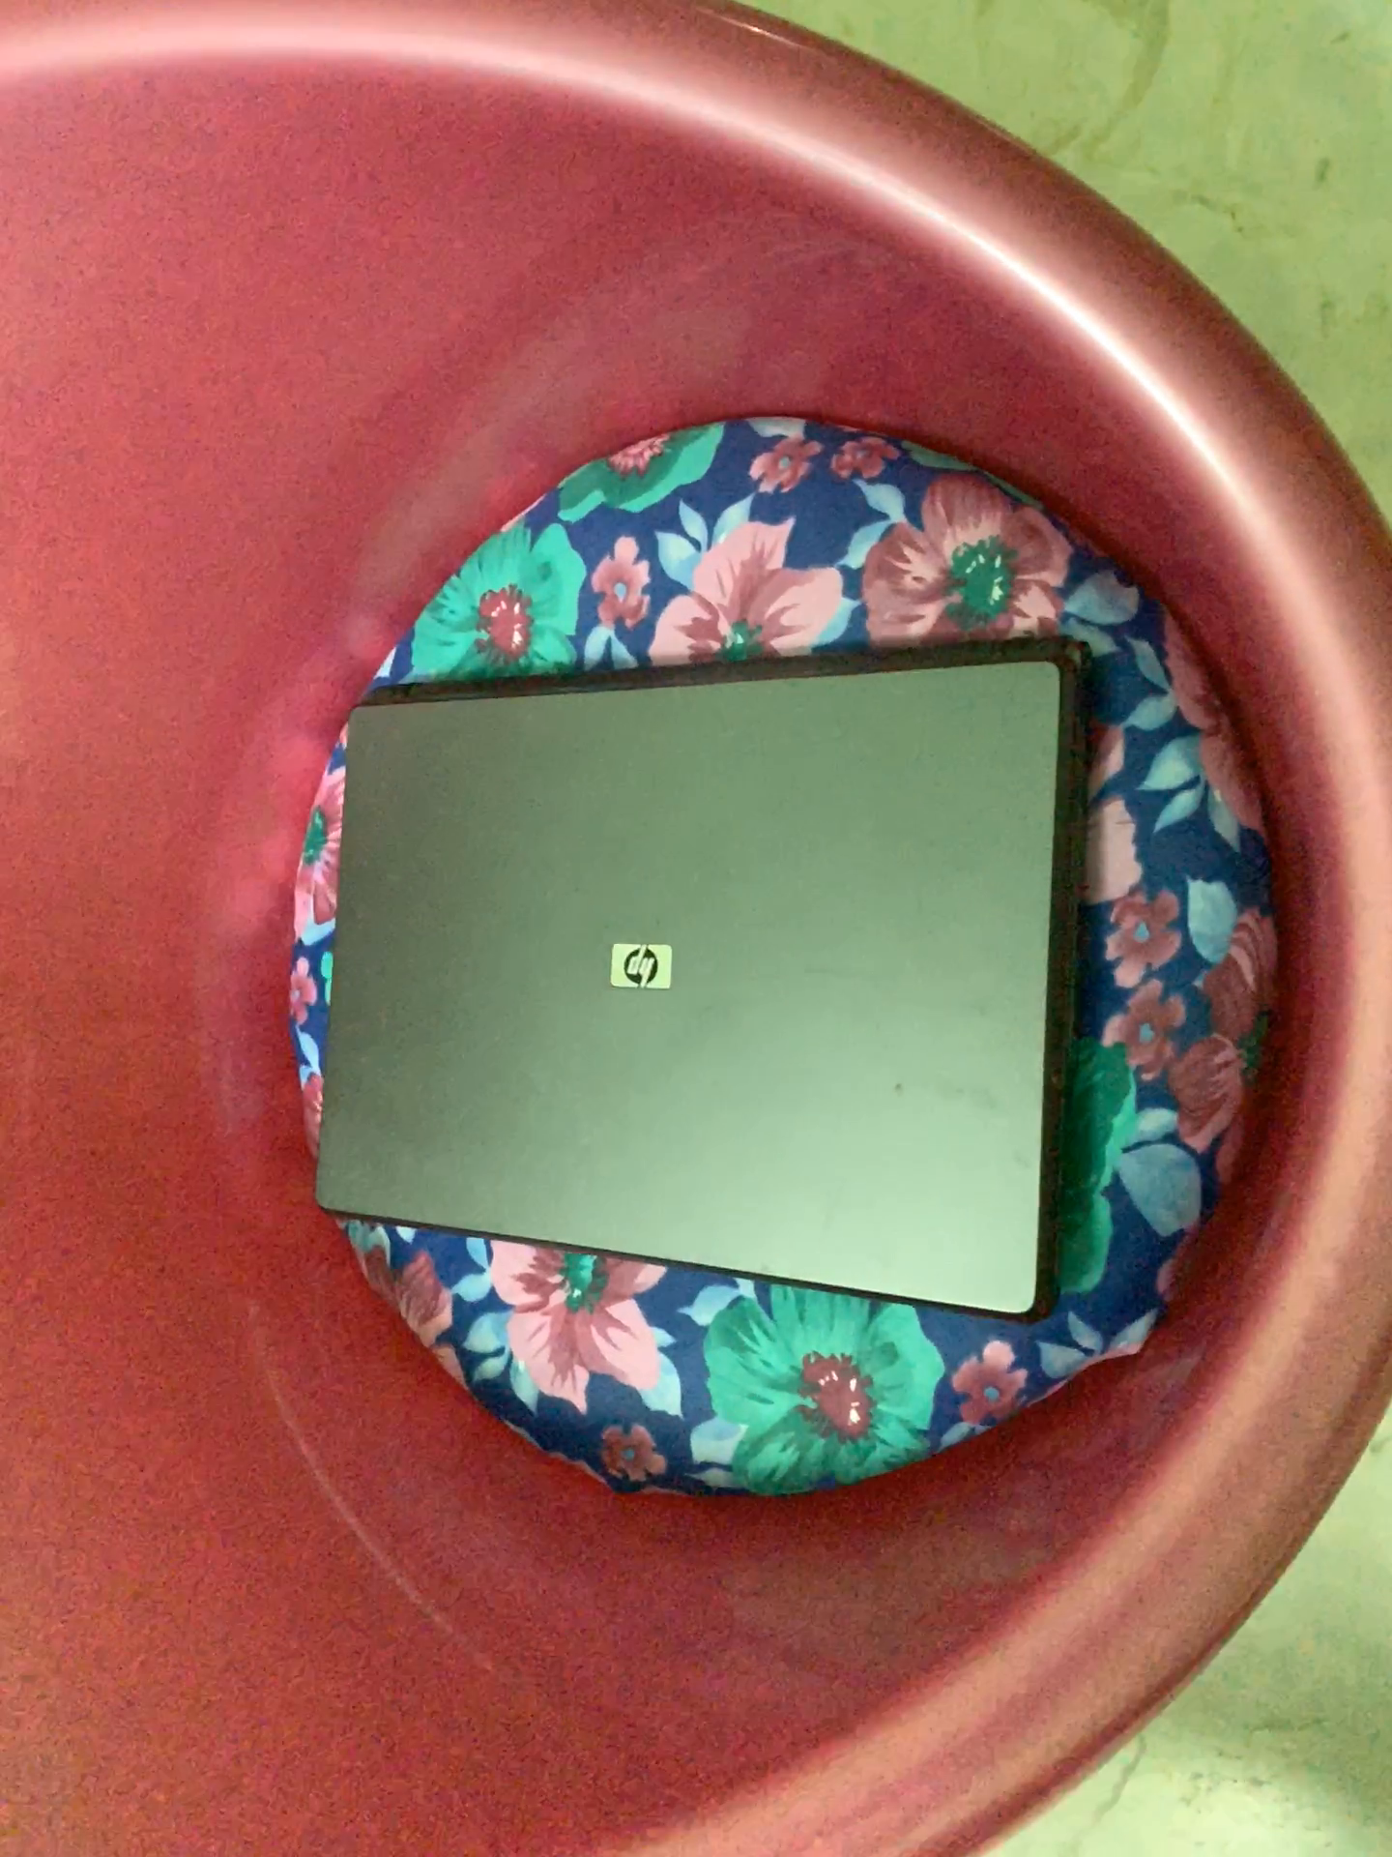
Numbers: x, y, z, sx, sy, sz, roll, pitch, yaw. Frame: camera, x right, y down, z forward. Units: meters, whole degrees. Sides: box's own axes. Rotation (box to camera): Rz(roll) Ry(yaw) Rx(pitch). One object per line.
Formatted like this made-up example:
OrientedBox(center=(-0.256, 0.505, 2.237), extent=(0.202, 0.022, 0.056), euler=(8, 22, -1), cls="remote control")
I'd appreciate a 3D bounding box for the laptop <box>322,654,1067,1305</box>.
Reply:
OrientedBox(center=(-0.016, 0.012, 0.549), extent=(0.304, 0.003, 0.222), euler=(2, 87, 25), cls="laptop")
